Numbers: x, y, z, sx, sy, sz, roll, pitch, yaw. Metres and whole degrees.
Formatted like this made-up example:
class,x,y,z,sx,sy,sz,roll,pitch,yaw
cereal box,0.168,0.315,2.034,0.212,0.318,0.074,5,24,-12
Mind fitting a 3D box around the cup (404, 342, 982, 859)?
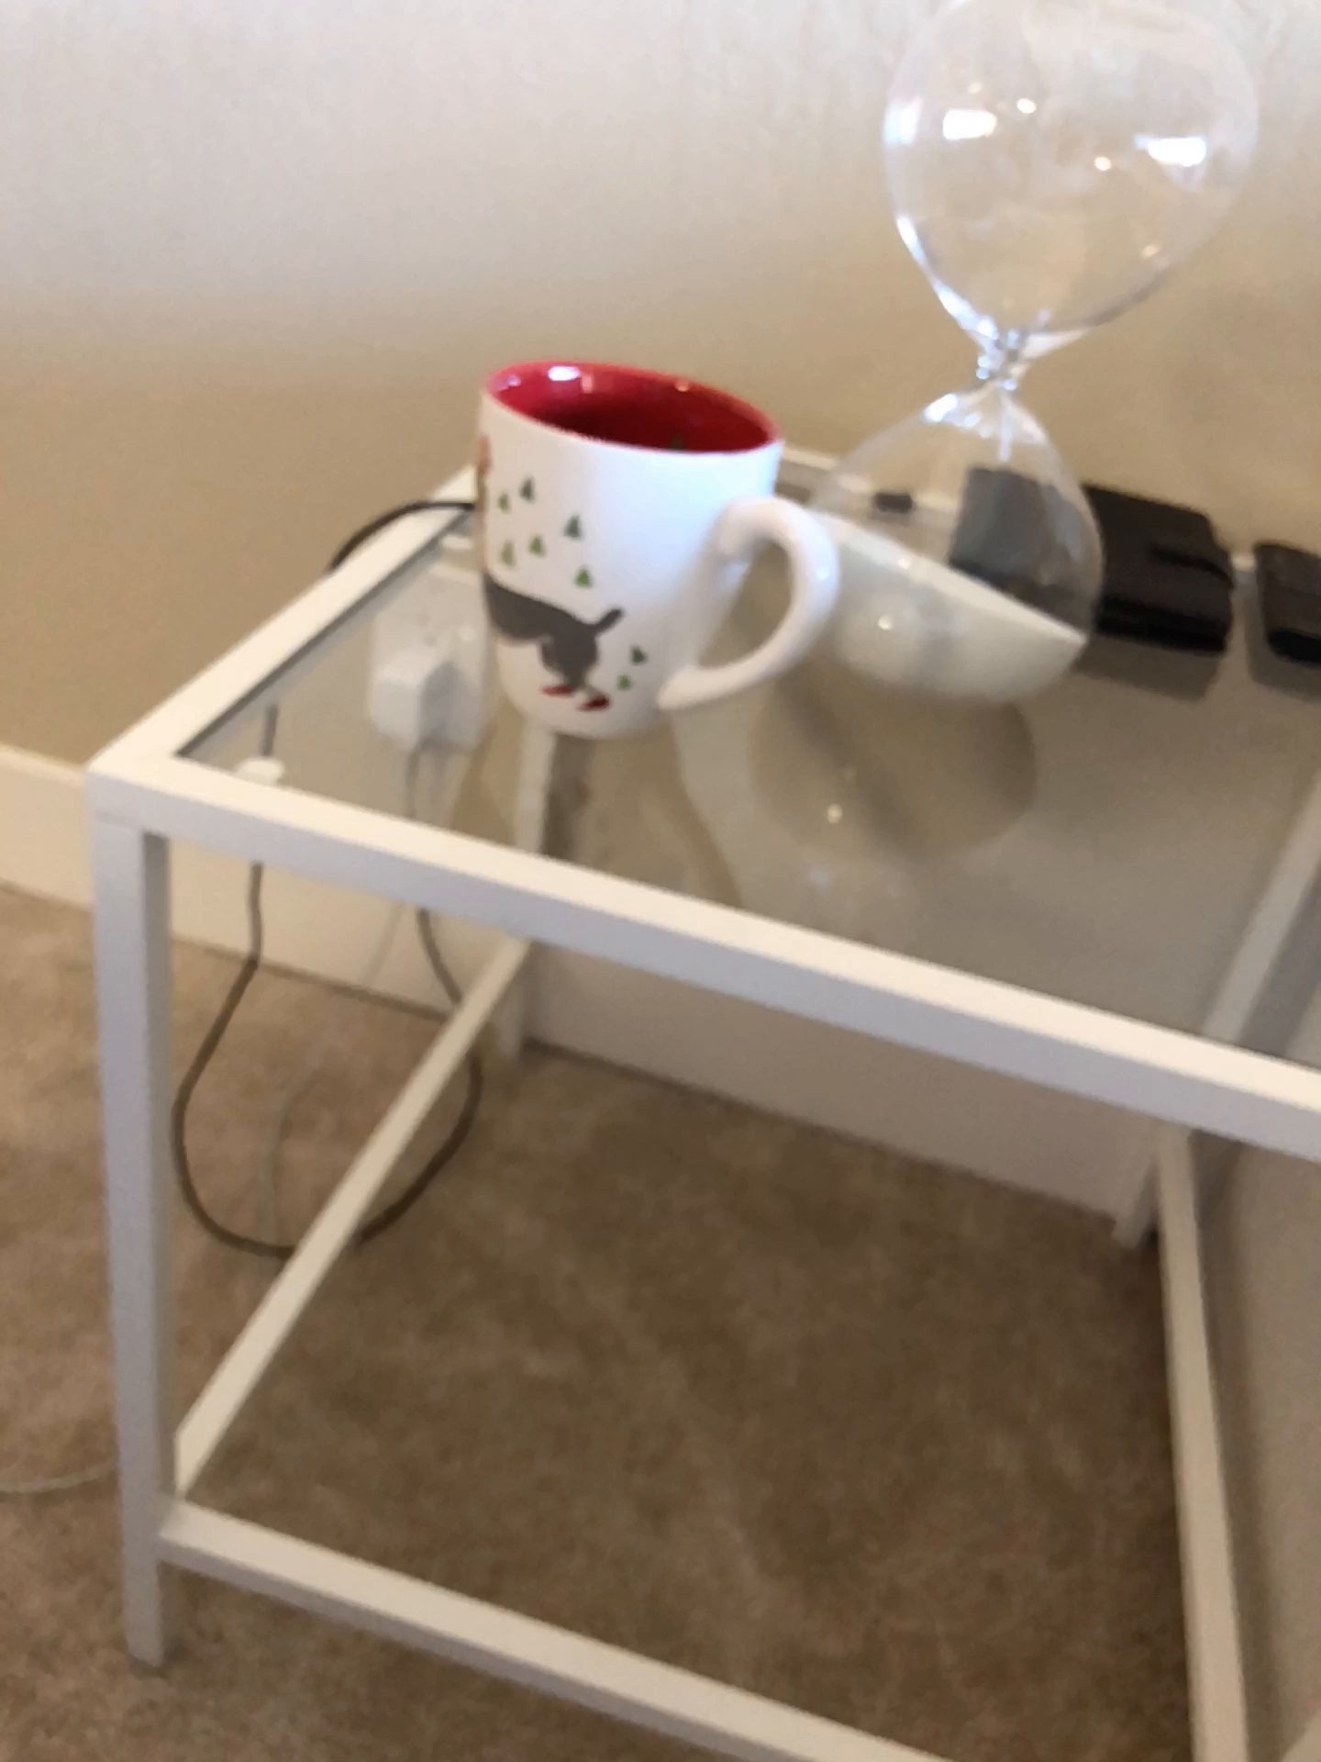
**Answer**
class,x,y,z,sx,sy,sz,roll,pitch,yaw
cup,0.005,-0.102,0.506,0.150,0.109,0.100,30,37,29
